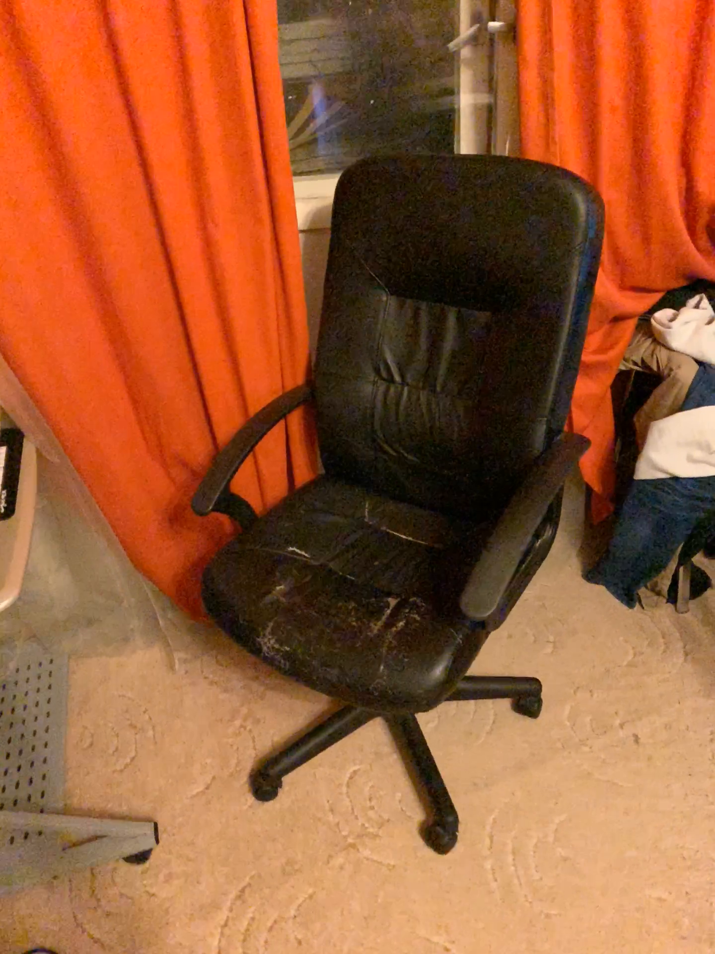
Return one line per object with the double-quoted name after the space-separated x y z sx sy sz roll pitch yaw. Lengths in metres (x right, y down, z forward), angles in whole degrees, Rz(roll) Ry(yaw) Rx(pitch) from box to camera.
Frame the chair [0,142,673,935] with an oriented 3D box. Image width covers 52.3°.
0.042 0.059 1.381 0.711 1.123 0.743 17 40 29 "chair"
